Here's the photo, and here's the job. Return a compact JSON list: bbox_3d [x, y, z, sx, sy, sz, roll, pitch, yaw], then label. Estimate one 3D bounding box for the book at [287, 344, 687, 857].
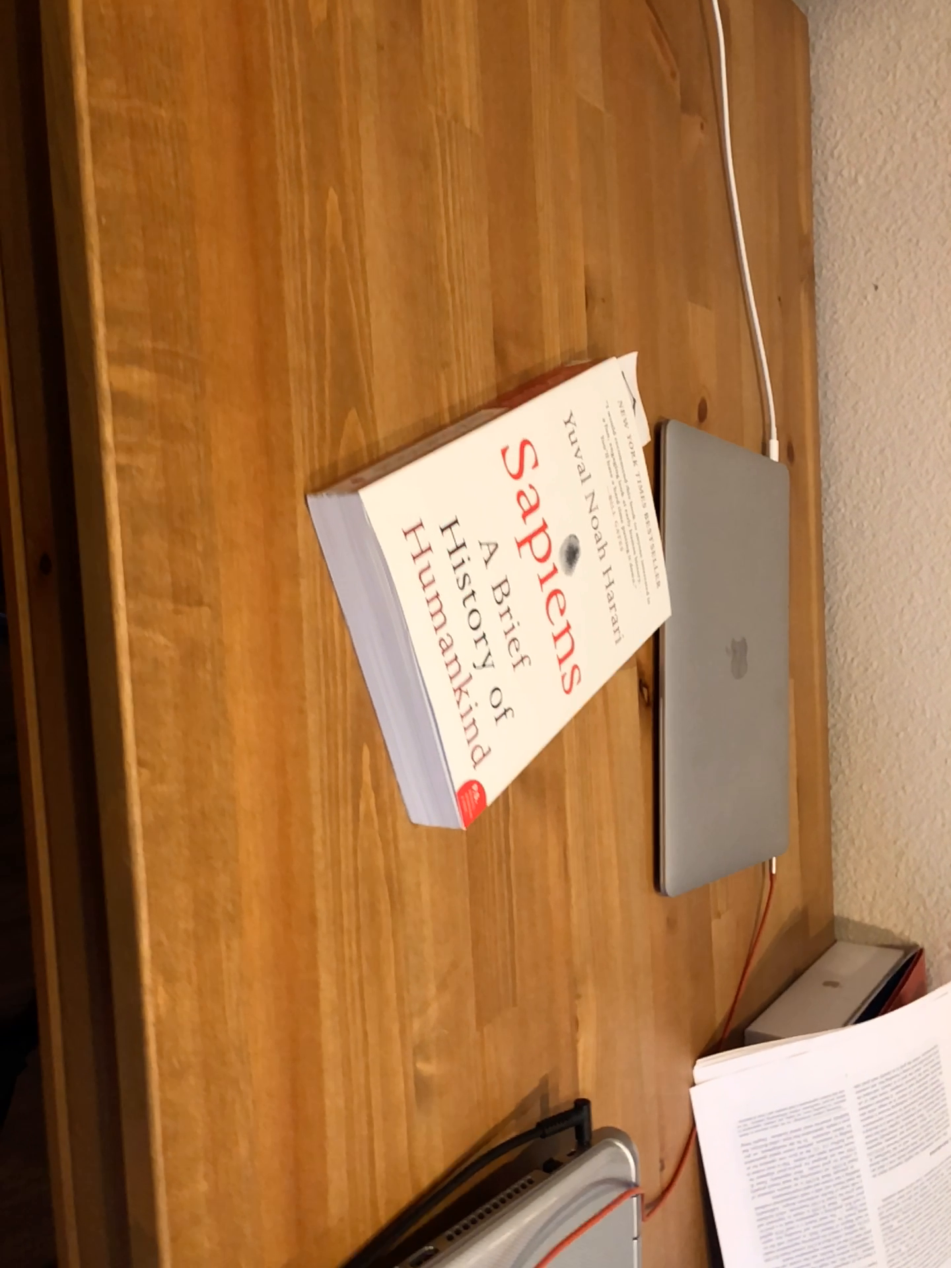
[{"bbox_3d":[0.027,-0.032,0.538,0.251,0.040,0.170,-39,120,-48],"label":"book"}]
